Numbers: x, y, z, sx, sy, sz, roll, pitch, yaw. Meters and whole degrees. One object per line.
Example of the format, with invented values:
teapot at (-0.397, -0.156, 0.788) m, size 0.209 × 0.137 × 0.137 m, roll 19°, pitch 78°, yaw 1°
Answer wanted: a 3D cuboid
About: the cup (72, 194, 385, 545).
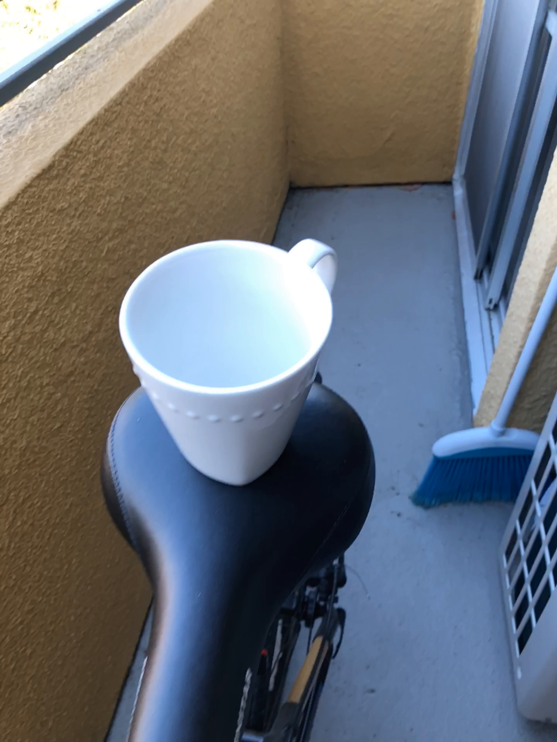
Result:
cup at (-0.015, -0.008, 0.316) m, size 0.090 × 0.100 × 0.130 m, roll 18°, pitch 46°, yaw 19°
